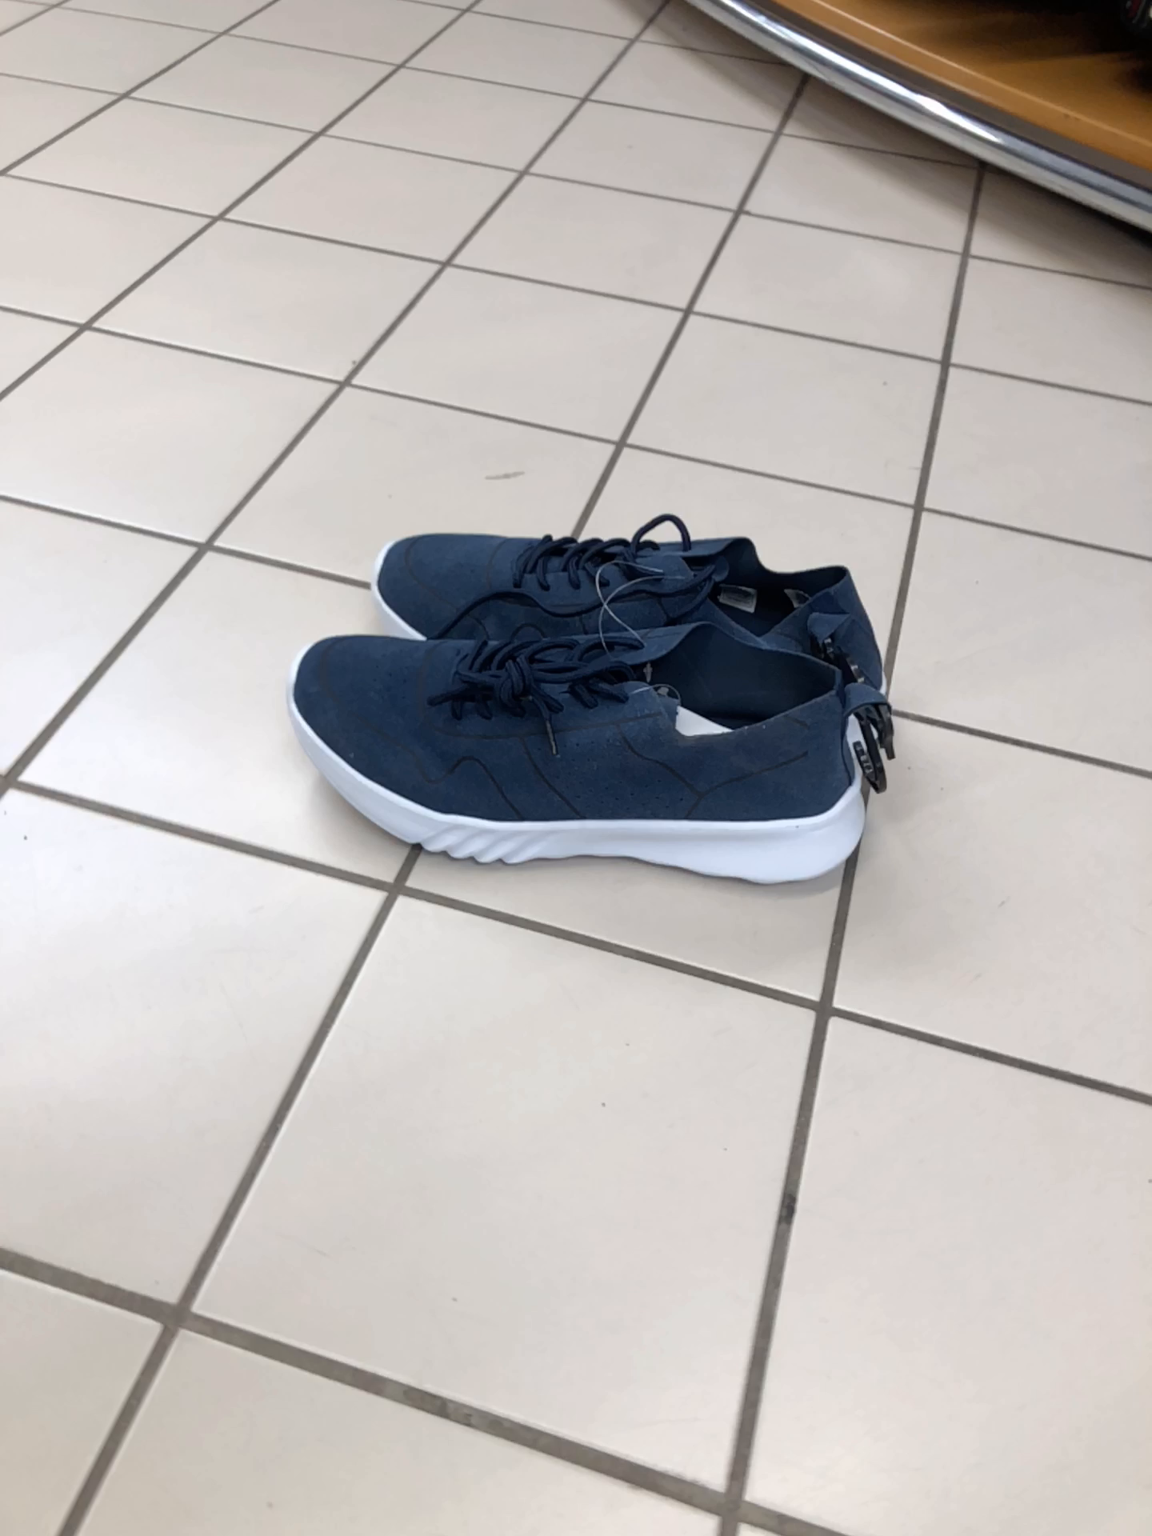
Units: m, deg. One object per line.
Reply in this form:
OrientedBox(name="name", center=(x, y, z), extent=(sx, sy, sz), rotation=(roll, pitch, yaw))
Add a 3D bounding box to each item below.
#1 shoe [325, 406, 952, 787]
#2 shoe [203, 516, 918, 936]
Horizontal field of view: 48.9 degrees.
OrientedBox(name="shoe", center=(0.032, -0.089, 0.651), extent=(0.290, 0.109, 0.101), rotation=(10, 46, 5))
OrientedBox(name="shoe", center=(-0.005, -0.019, 0.586), extent=(0.290, 0.119, 0.101), rotation=(8, 46, 3))
